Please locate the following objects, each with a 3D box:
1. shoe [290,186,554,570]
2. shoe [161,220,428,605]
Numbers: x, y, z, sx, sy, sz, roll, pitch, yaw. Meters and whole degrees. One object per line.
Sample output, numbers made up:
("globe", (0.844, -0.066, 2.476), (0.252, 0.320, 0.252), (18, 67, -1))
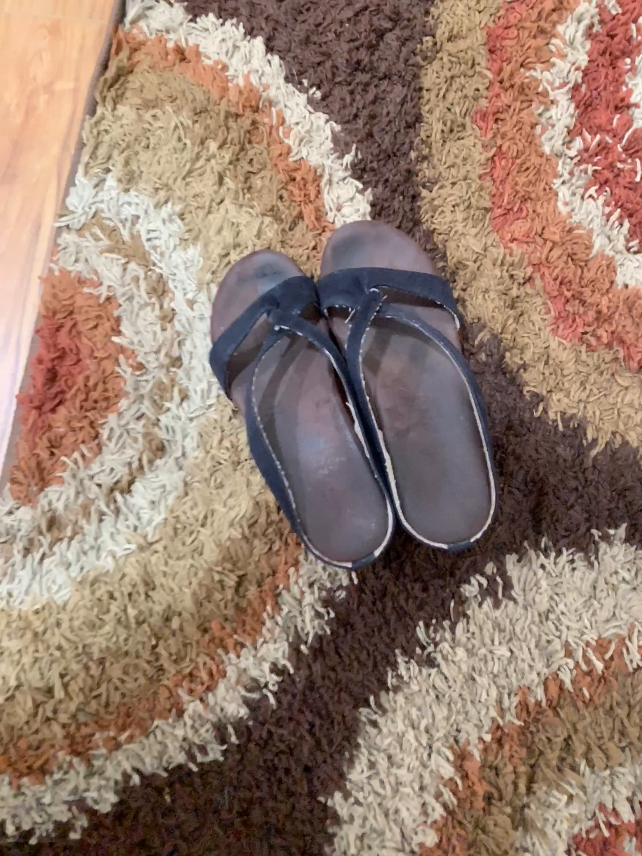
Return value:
("shoe", (0.060, -0.032, 0.421), (0.084, 0.052, 0.223), (-20, 81, 1))
("shoe", (-0.018, -0.010, 0.431), (0.090, 0.062, 0.222), (-22, 81, 1))
